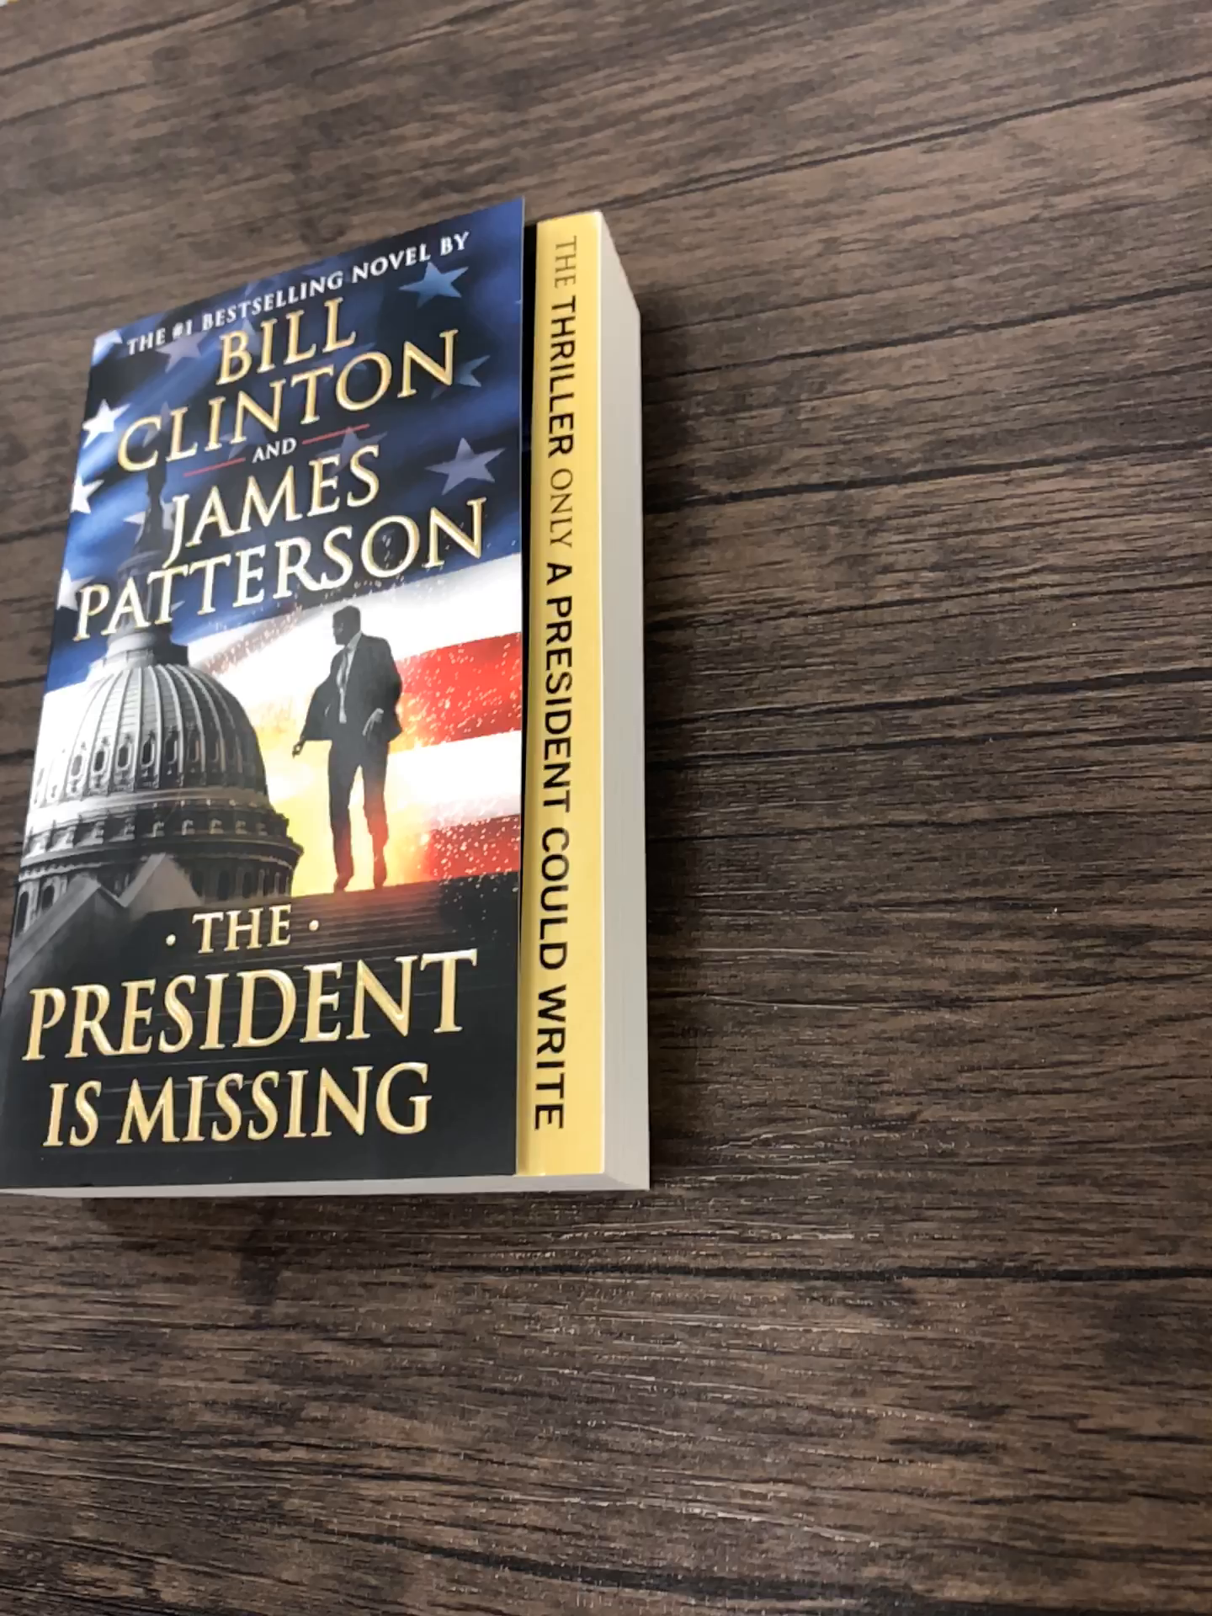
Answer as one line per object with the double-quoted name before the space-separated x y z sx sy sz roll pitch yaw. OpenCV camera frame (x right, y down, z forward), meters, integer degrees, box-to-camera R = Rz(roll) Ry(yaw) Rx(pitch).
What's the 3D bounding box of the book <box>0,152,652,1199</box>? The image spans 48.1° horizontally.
"book" -0.067 -0.026 0.308 0.140 0.054 0.216 -7 70 17
